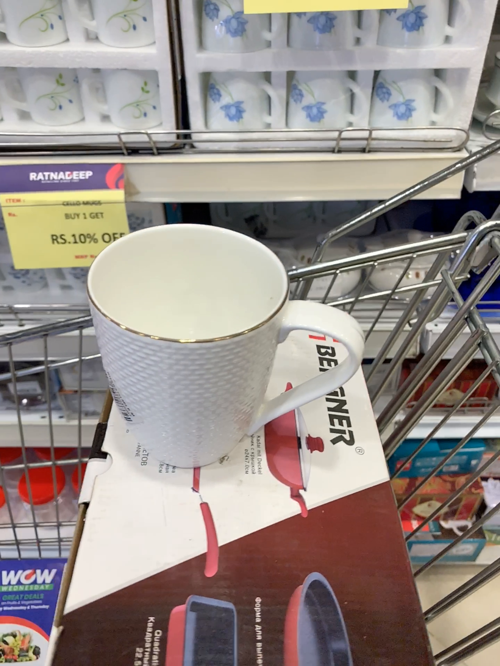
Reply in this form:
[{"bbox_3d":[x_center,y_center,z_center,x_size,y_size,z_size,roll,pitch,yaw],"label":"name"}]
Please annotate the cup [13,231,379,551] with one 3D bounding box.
[{"bbox_3d":[-0.013,0.021,0.226,0.120,0.080,0.090,9,43,8],"label":"cup"}]
